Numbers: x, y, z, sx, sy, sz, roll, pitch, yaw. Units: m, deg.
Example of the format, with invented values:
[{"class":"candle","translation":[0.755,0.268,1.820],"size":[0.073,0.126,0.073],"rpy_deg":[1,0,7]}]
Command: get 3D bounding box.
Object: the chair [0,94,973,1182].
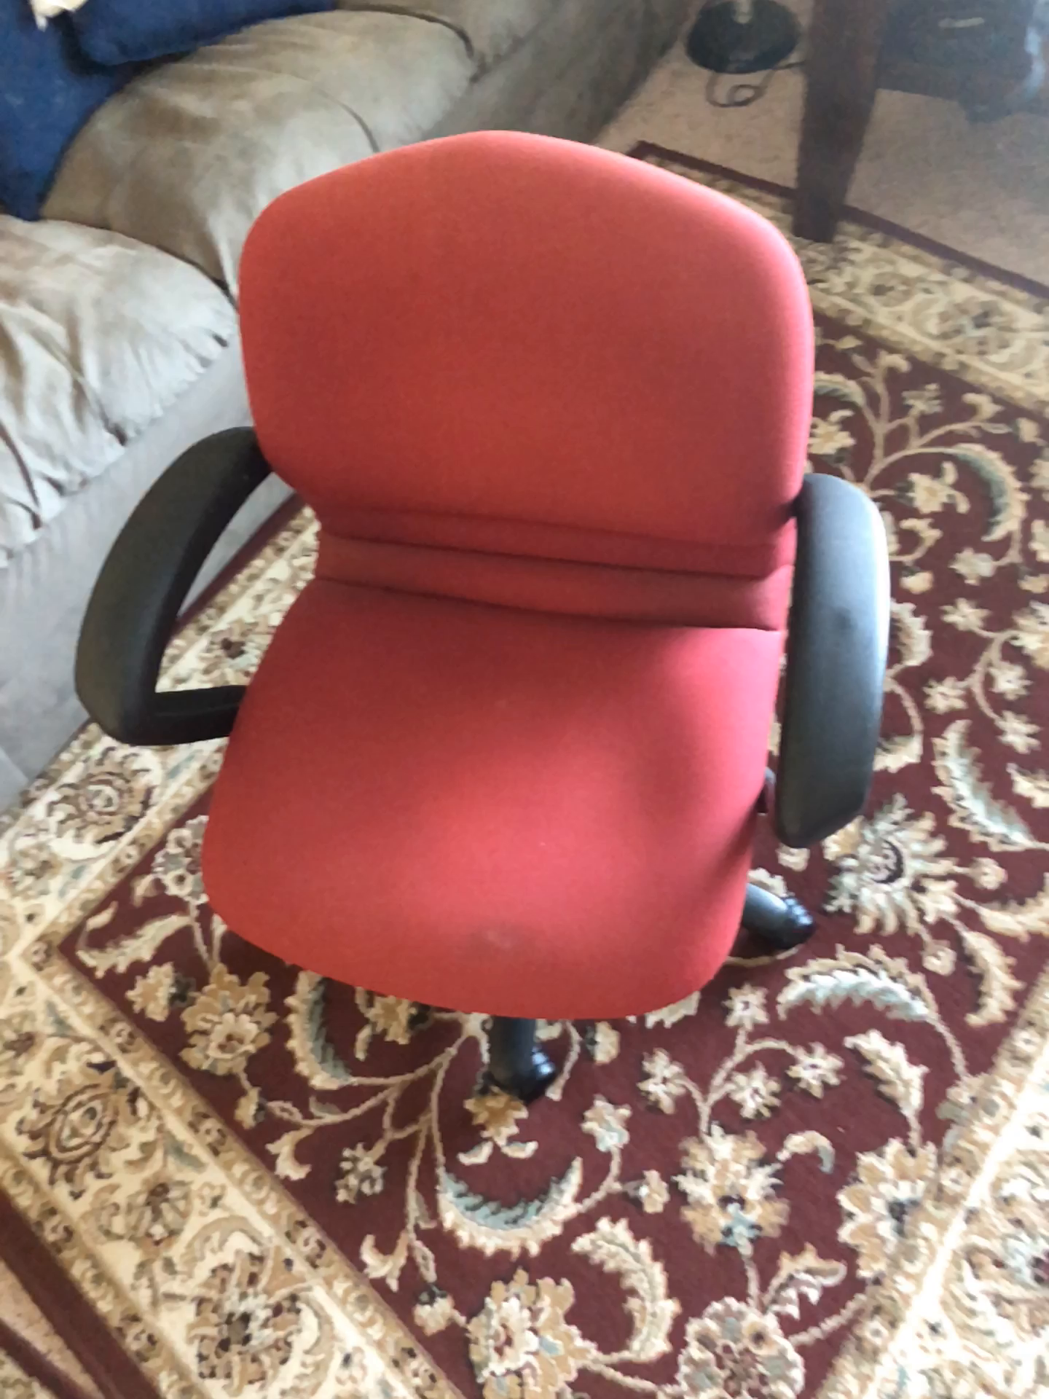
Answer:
[{"class":"chair","translation":[-0.020,-0.019,1.069],"size":[0.650,0.730,0.620],"rpy_deg":[9,61,14]}]
